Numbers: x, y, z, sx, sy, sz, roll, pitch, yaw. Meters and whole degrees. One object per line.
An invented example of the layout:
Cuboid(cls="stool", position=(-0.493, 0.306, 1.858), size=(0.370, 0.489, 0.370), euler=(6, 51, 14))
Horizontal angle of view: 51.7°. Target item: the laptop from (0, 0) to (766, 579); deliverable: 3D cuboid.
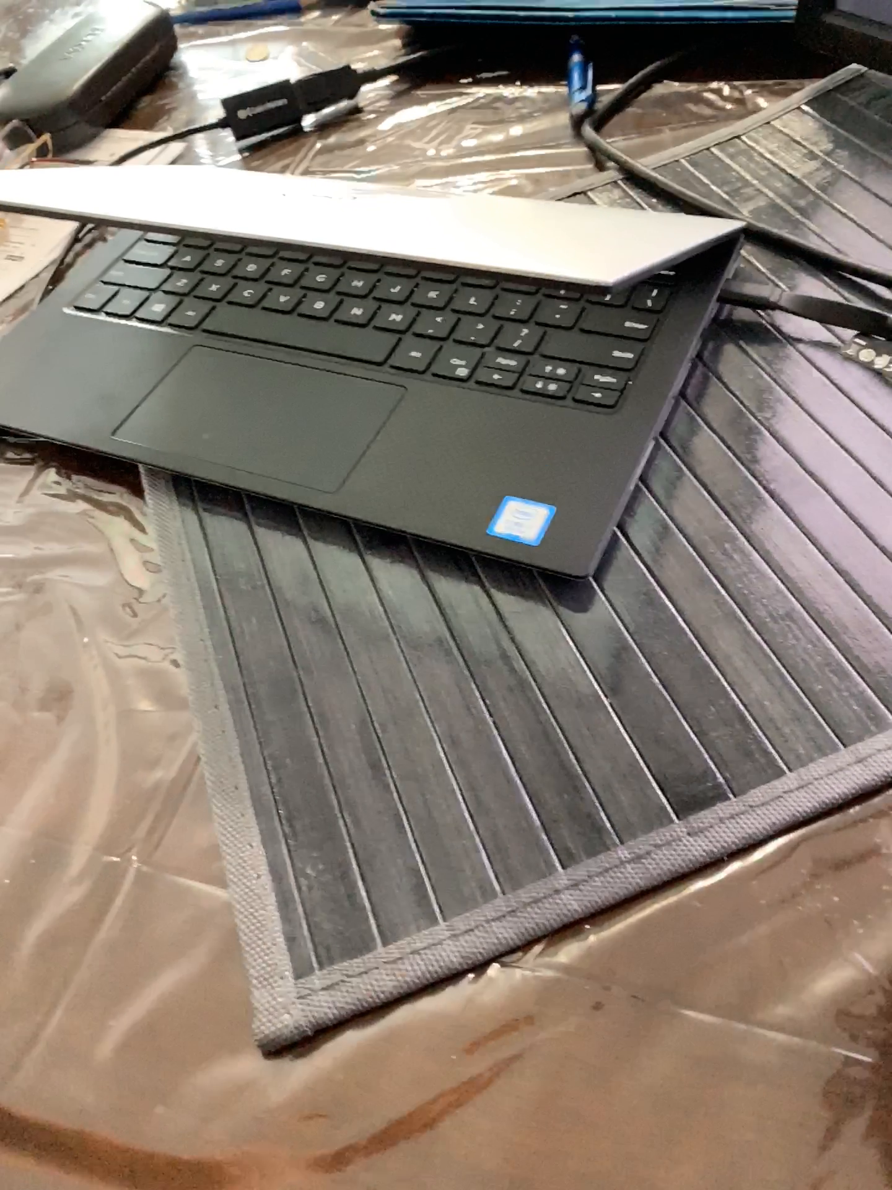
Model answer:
Cuboid(cls="laptop", position=(-0.055, -0.138, 0.347), size=(0.290, 0.085, 0.185), euler=(16, 56, 22))
